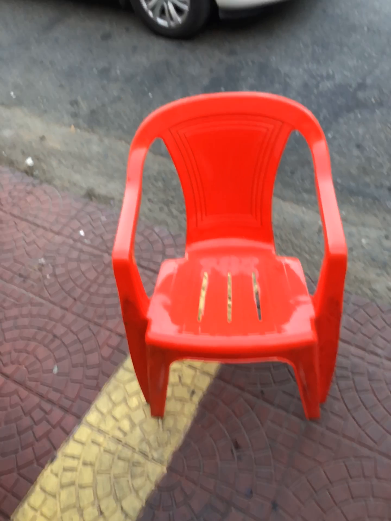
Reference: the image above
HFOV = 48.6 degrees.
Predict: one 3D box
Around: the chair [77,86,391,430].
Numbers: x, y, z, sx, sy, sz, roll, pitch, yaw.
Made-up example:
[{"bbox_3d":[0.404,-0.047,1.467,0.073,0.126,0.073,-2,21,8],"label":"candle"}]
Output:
[{"bbox_3d":[0.116,0.044,1.181,0.570,0.796,0.543,0,50,3],"label":"chair"}]
